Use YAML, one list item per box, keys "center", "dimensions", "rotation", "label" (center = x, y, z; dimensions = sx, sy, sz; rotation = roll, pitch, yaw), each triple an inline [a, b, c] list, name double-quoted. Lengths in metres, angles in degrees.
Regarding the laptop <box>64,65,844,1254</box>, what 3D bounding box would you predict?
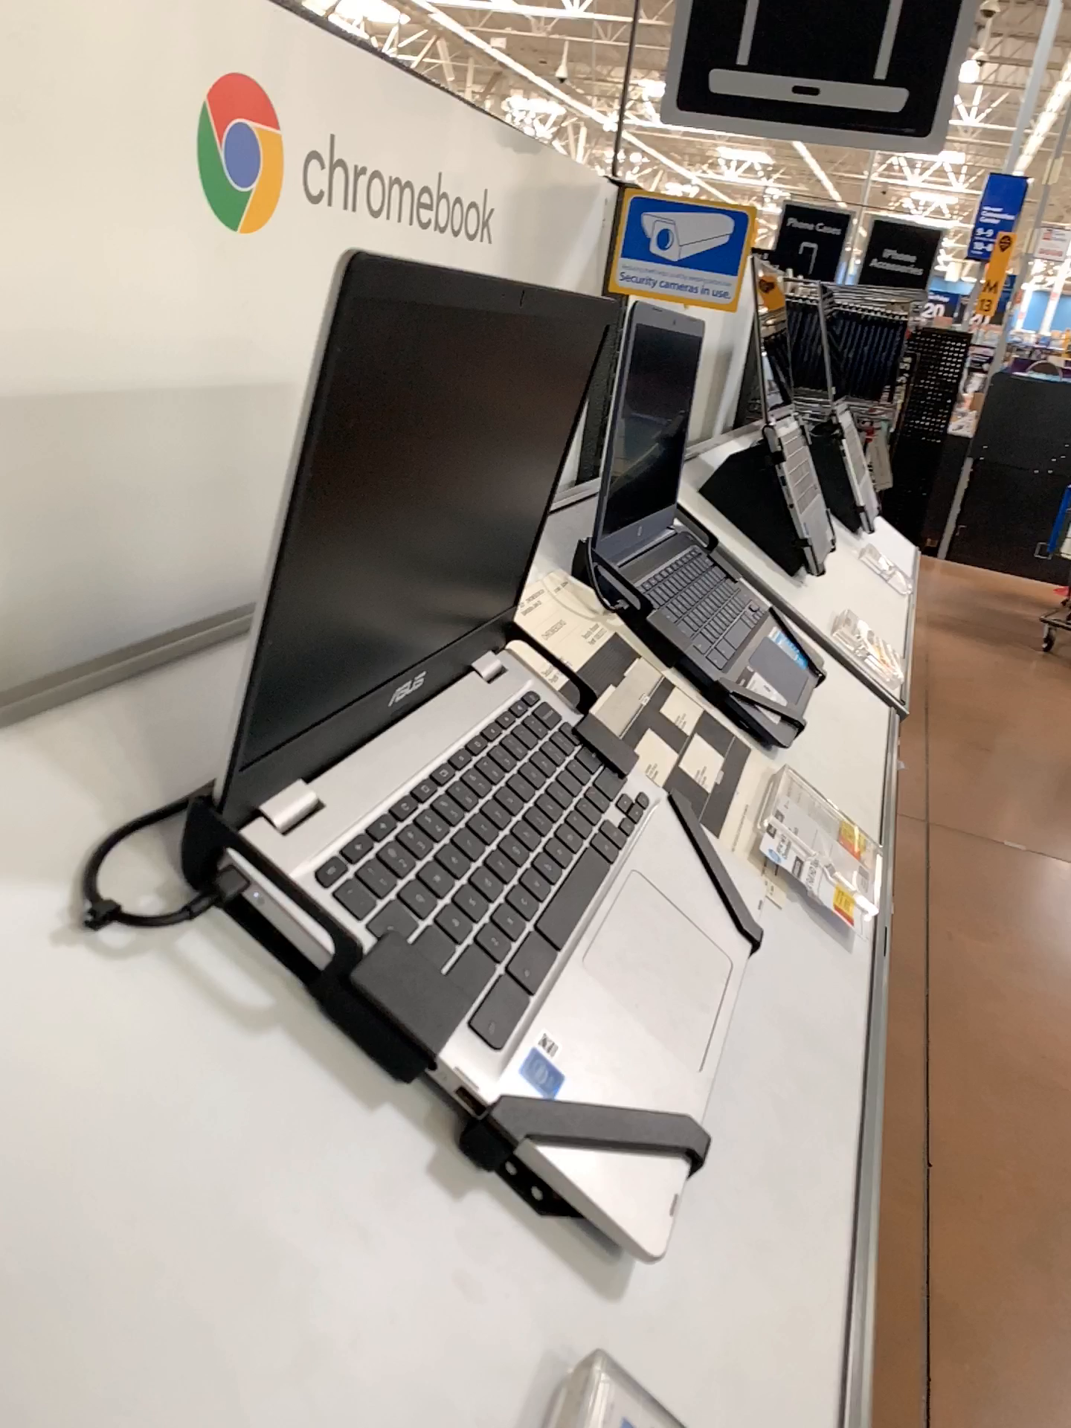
- center: [-0.002, -0.045, 0.505]
  dimensions: [0.292, 0.197, 0.309]
  rotation: [34, 24, 6]
  label: "laptop"
